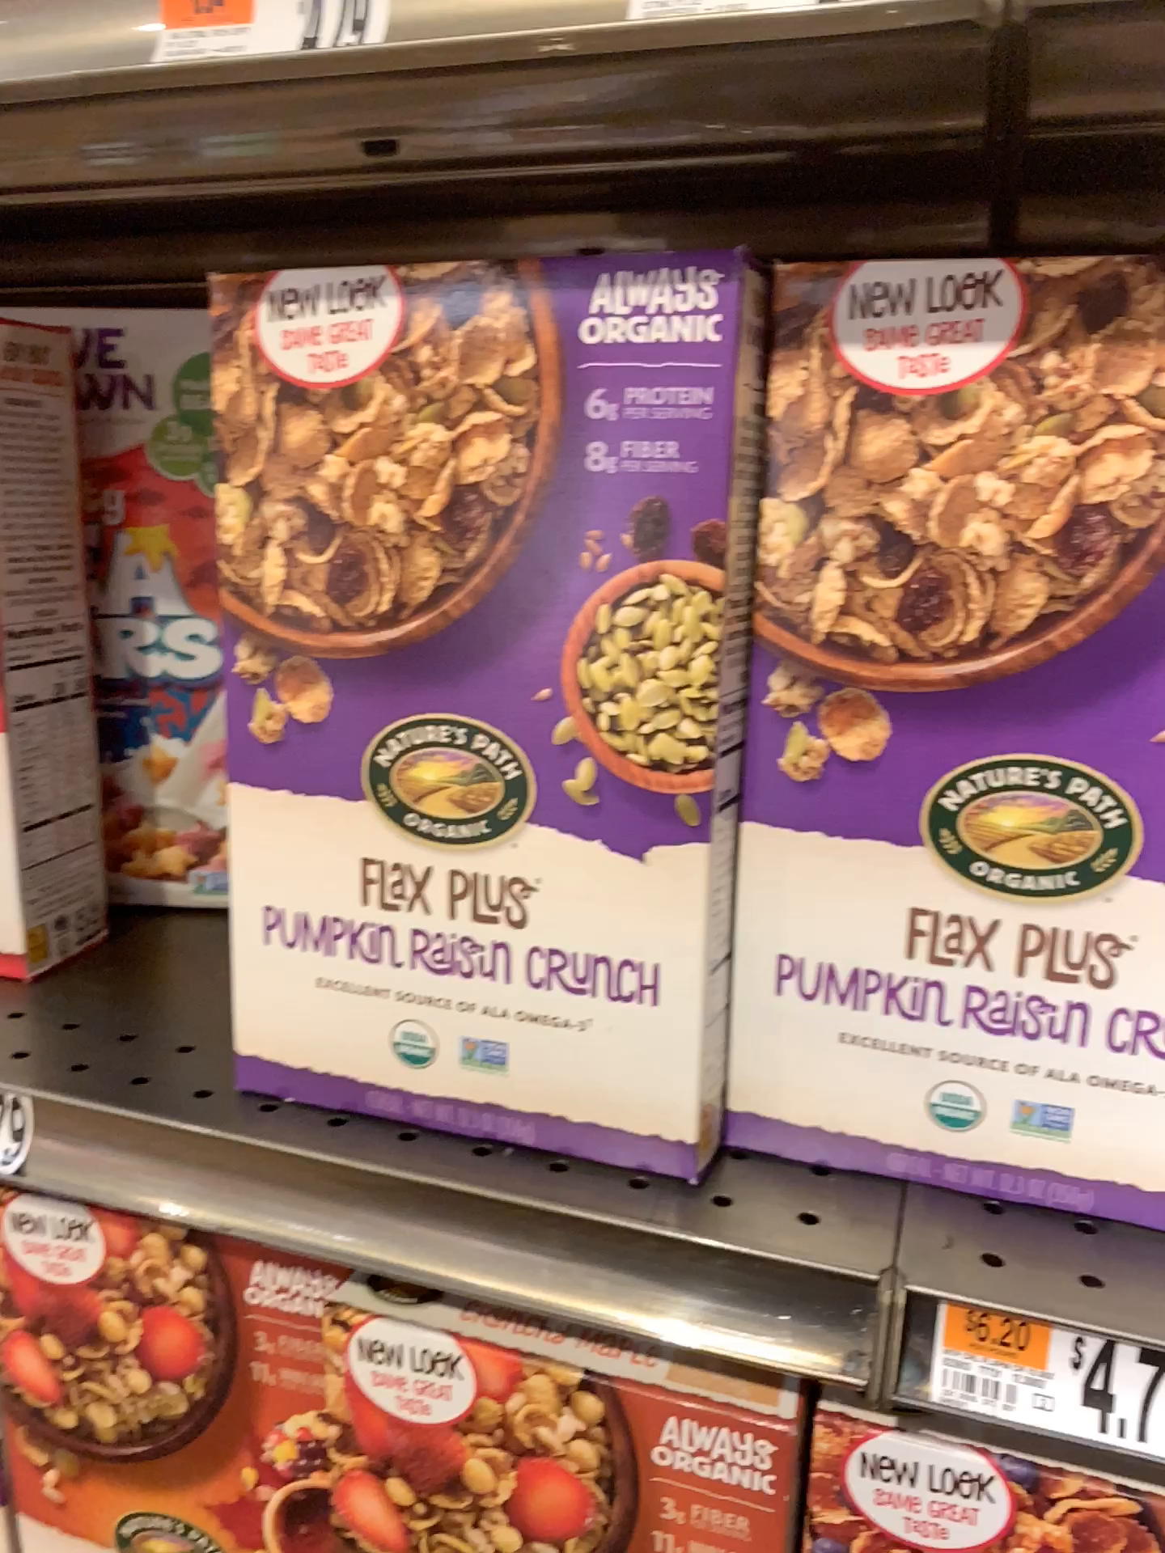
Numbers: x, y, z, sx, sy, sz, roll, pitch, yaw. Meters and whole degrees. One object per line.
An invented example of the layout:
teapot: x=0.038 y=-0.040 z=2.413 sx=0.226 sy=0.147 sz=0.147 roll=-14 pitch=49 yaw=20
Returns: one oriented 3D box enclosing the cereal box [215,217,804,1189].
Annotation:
cereal box: x=-0.028 y=-0.023 z=0.383 sx=0.170 sy=0.269 sz=0.050 roll=6 pitch=11 yaw=20
